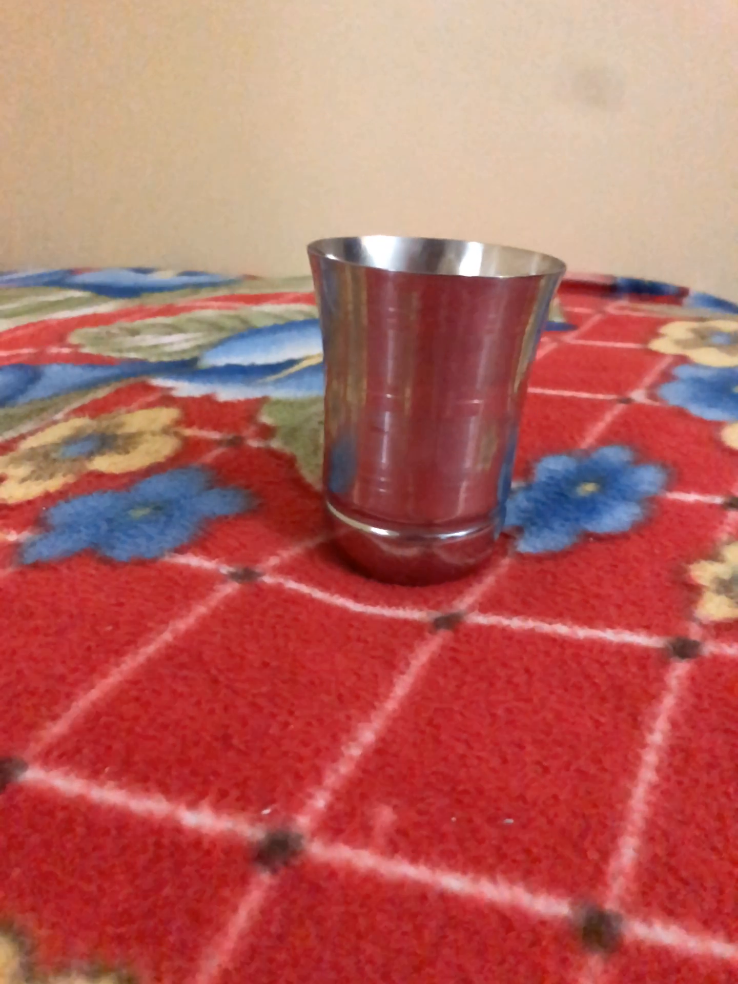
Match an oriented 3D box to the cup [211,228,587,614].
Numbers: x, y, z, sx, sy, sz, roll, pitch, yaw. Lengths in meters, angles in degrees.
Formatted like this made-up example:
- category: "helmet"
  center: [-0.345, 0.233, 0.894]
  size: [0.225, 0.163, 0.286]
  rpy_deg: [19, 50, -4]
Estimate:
- category: "cup"
  center: [0.013, -0.030, 0.254]
  size: [0.087, 0.090, 0.089]
  rpy_deg: [2, 20, -1]
